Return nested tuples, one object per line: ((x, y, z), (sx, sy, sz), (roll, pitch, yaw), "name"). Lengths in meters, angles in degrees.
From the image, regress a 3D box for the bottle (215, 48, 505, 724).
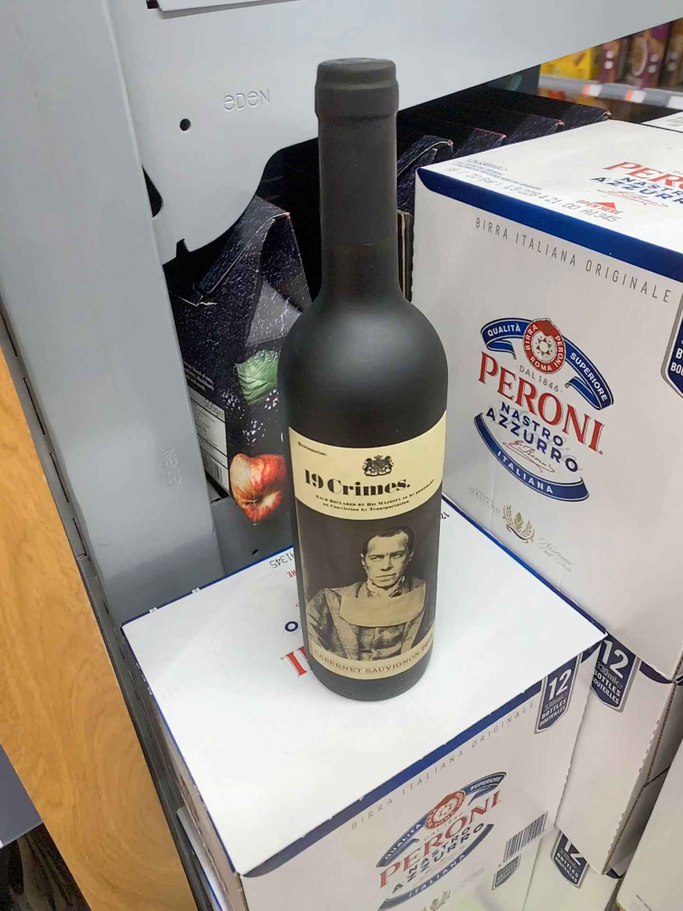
((0.008, -0.008, 0.310), (0.078, 0.288, 0.075), (-2, 36, 2), "bottle")
